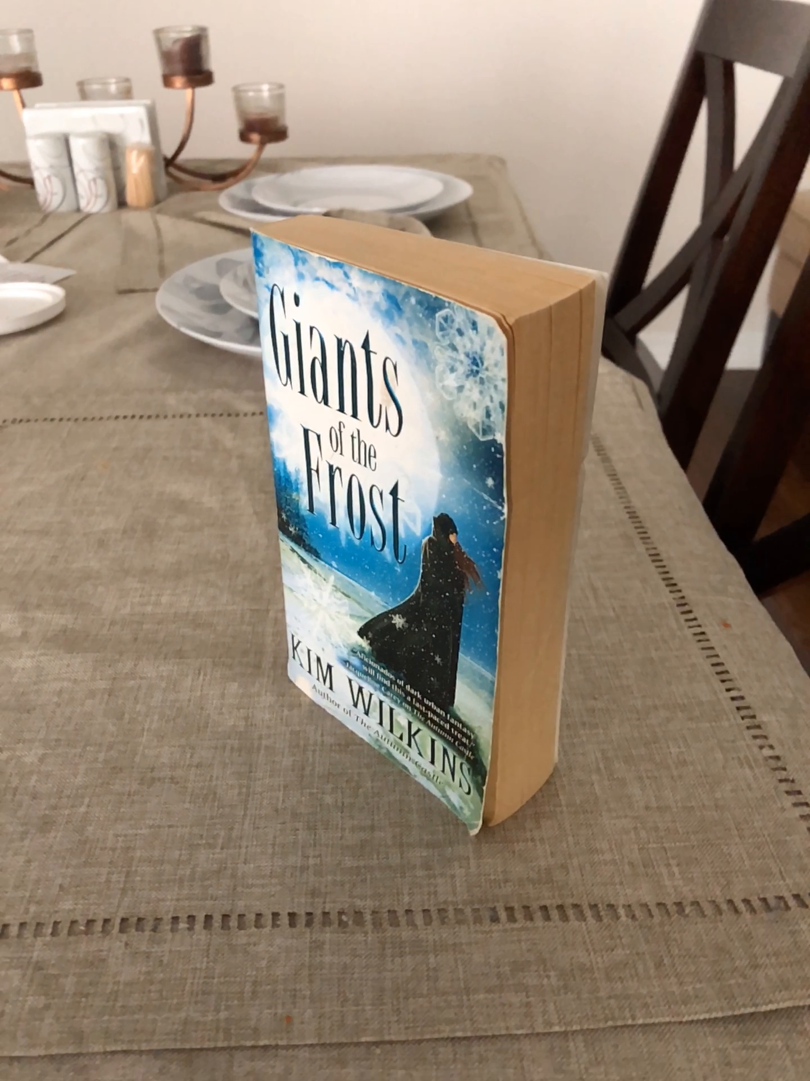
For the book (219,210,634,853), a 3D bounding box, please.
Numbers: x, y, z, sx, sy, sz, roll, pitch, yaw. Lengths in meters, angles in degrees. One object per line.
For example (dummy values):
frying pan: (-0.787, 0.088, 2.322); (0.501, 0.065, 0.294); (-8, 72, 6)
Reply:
book: (0.001, -0.004, 0.282); (0.043, 0.168, 0.111); (-27, 40, -37)
